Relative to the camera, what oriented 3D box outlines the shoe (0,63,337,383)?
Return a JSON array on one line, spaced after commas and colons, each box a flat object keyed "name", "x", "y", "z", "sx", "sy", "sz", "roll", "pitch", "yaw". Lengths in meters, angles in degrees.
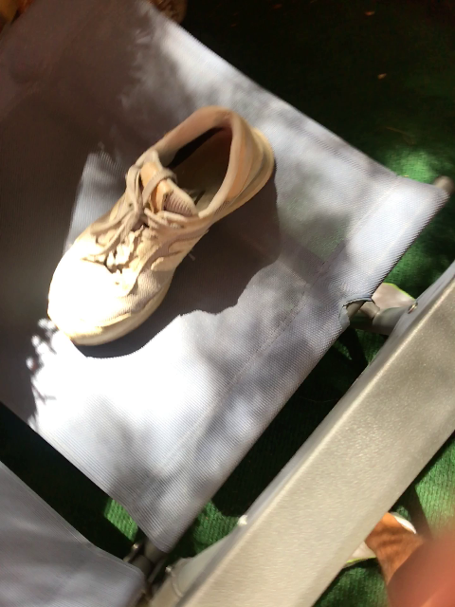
[{"name": "shoe", "x": -0.053, "y": -0.074, "z": 0.467, "sx": 0.287, "sy": 0.104, "sz": 0.124, "roll": -42, "pitch": 83, "yaw": -15}]
